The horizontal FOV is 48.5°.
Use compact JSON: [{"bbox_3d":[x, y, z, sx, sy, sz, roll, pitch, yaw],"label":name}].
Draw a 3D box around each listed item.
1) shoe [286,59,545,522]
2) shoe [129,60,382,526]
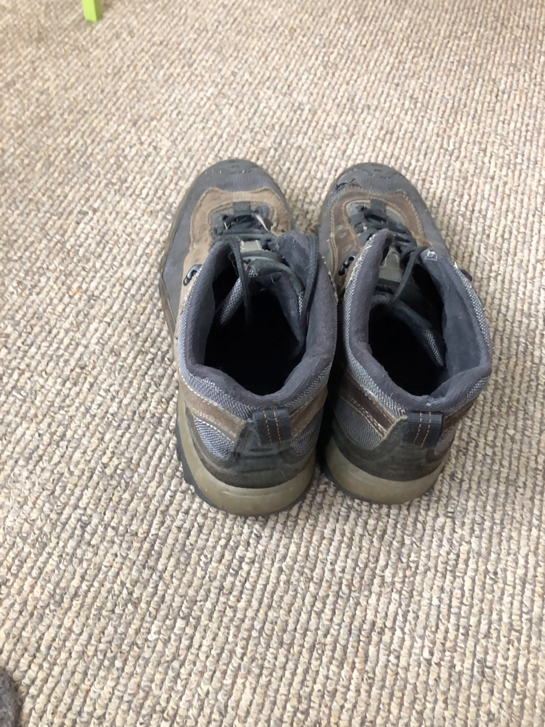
[{"bbox_3d":[0.089,-0.056,0.418,0.118,0.137,0.281,8,58,-1],"label":"shoe"},{"bbox_3d":[-0.025,-0.054,0.404,0.116,0.135,0.280,-2,59,-7],"label":"shoe"}]
